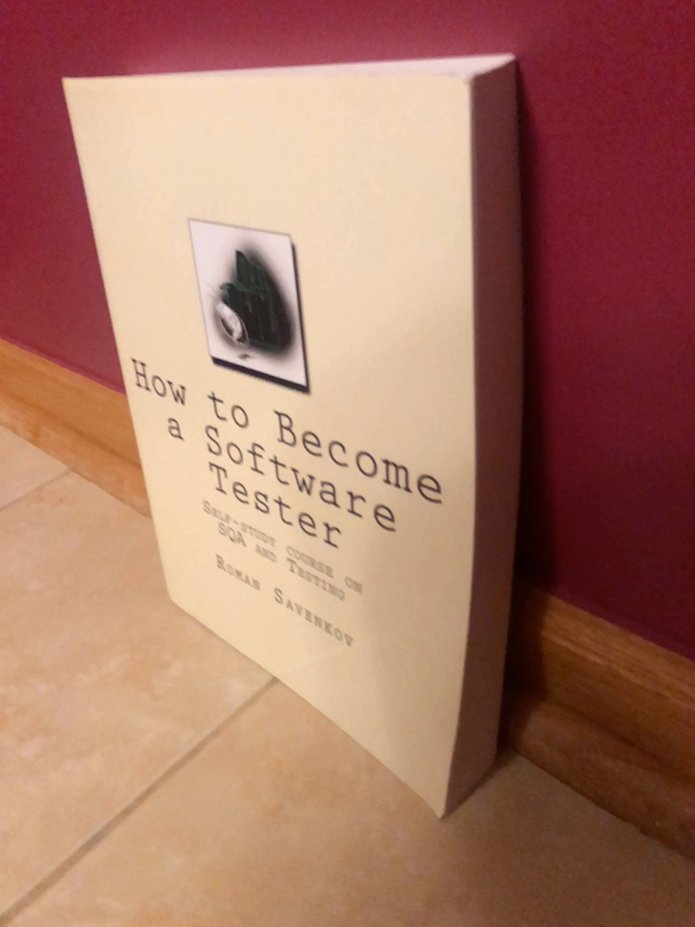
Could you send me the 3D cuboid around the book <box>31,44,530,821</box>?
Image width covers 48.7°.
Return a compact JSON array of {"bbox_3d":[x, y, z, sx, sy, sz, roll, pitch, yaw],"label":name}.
[{"bbox_3d":[-0.032,-0.018,0.332,0.045,0.273,0.221,-27,35,-35],"label":"book"}]
